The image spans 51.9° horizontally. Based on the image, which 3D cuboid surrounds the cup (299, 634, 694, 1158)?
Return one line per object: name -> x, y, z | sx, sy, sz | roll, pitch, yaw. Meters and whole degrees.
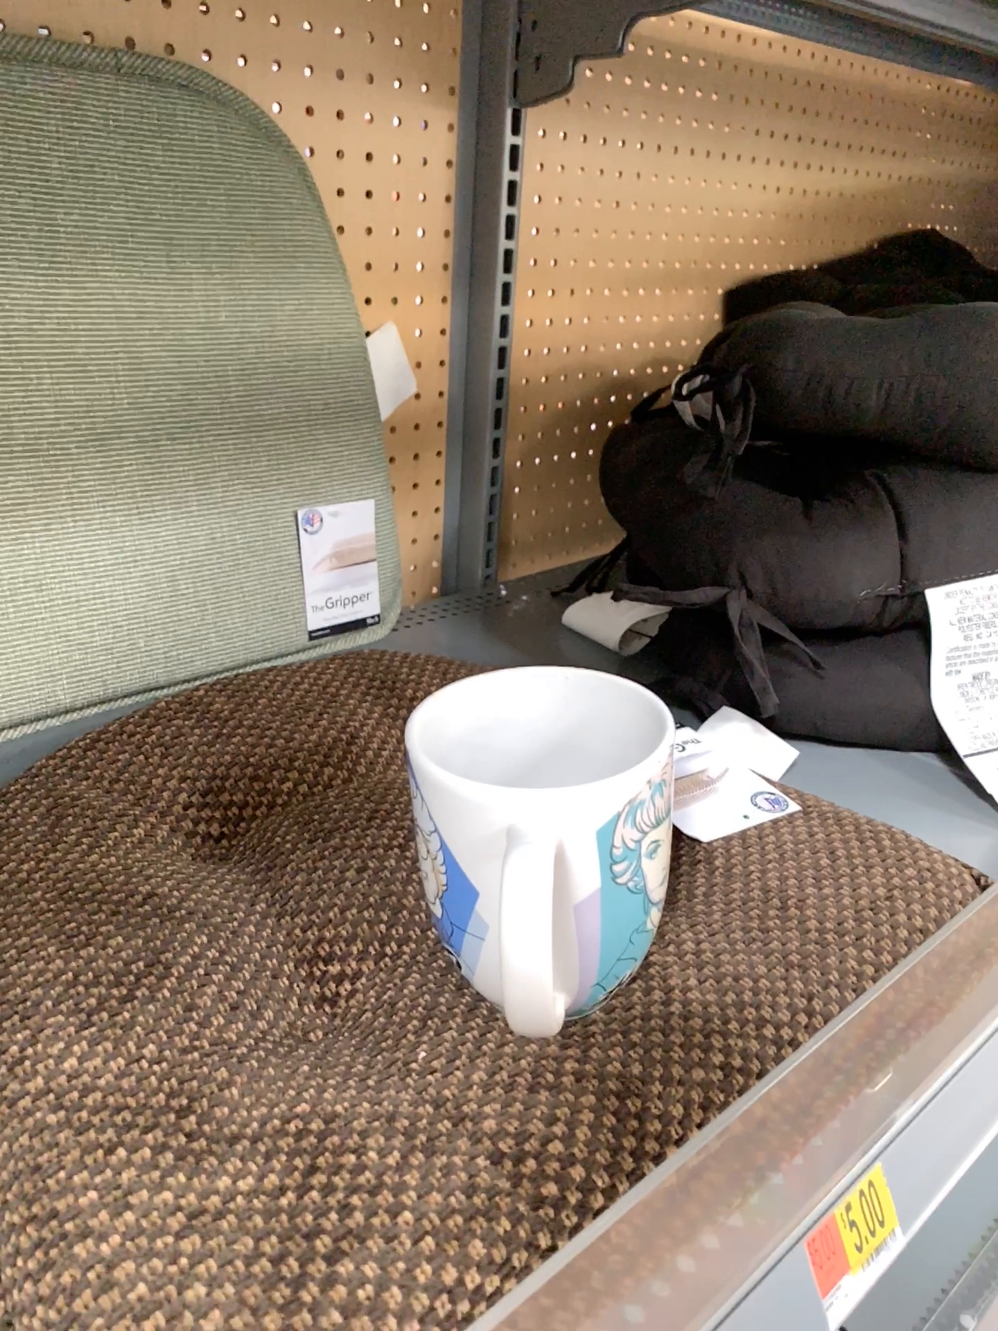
cup -> 0.007, 0.064, 0.341 | 0.090, 0.100, 0.129 | 8, 24, 15
